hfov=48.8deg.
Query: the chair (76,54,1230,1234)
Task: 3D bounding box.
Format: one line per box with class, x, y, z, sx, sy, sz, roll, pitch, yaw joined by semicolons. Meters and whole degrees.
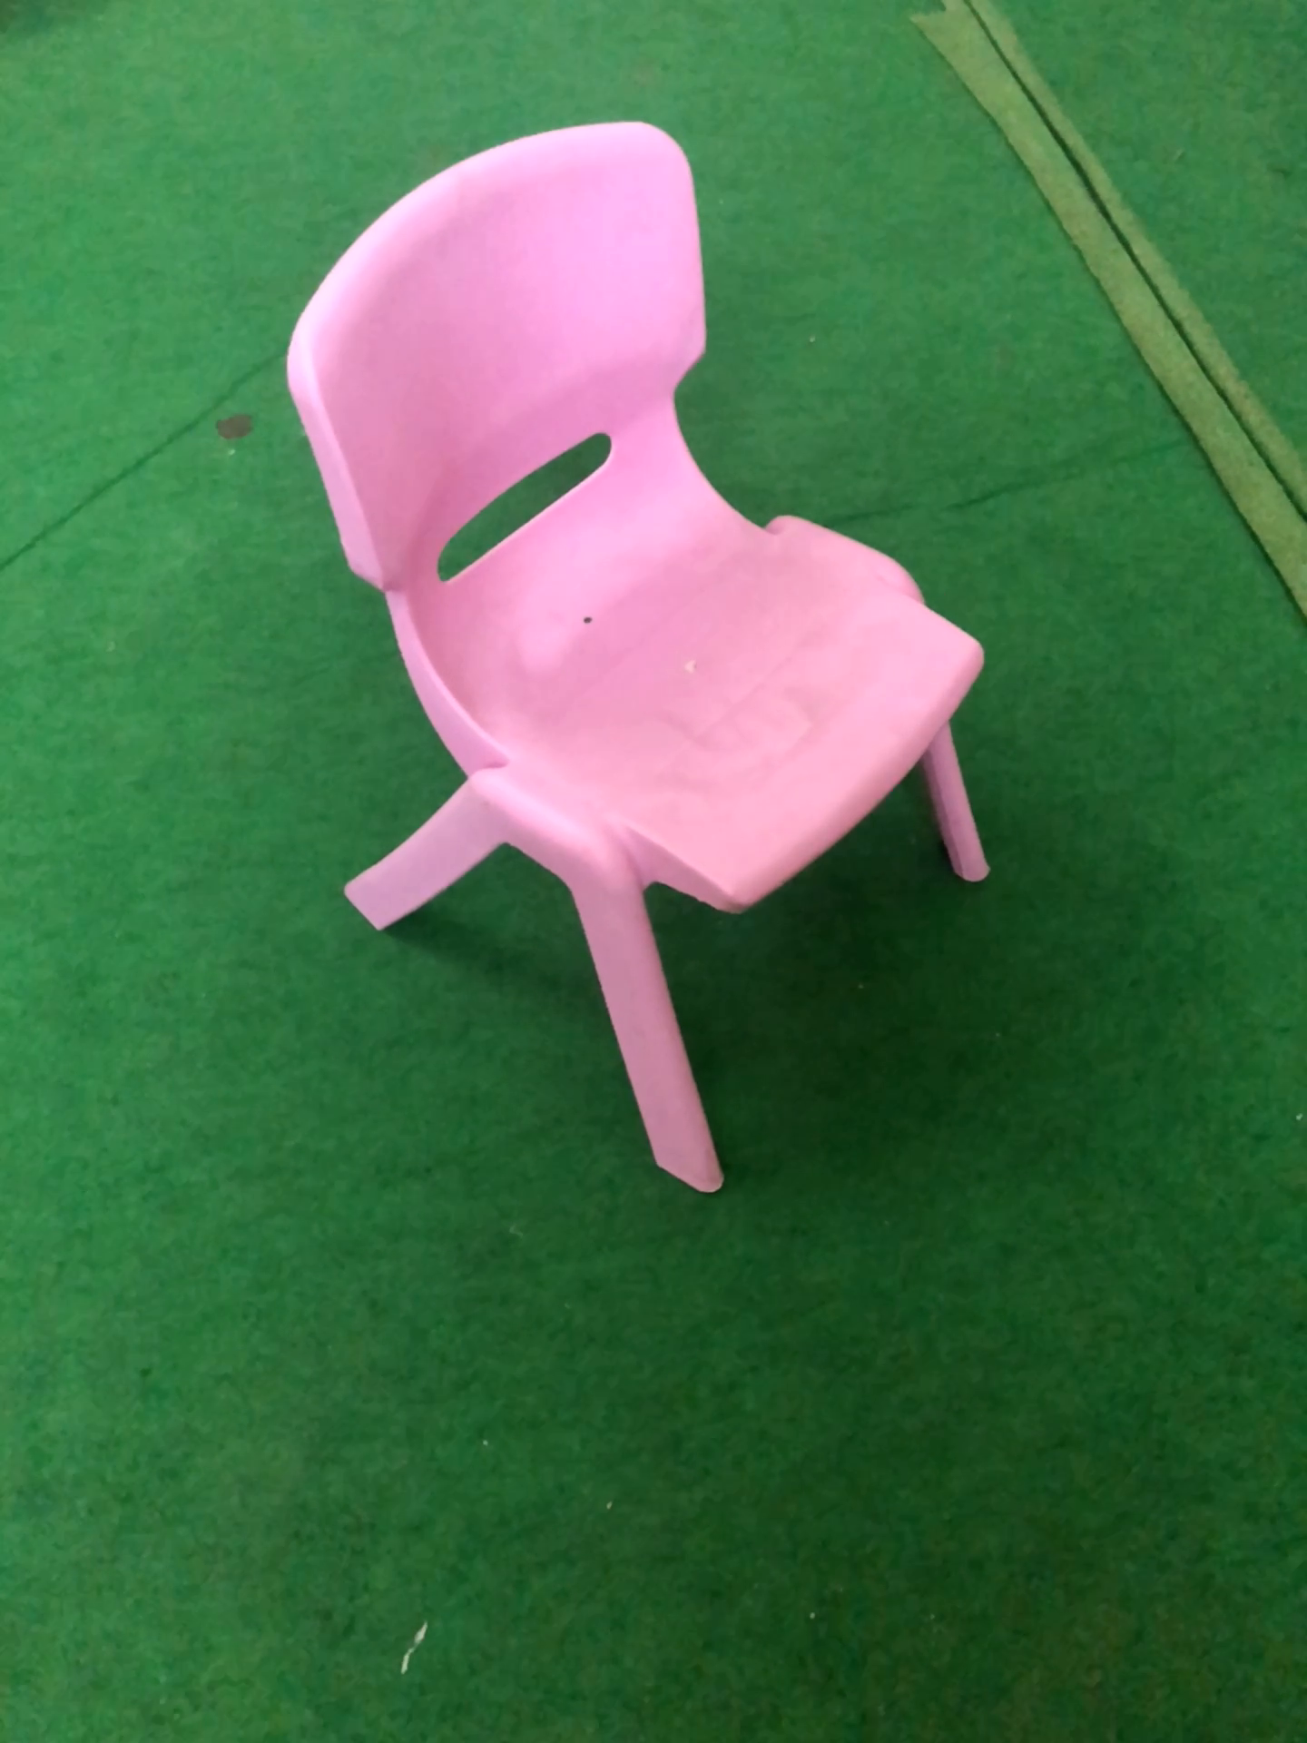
chair;0.006;-0.132;0.872;0.410;0.449;0.380;31;58;21
